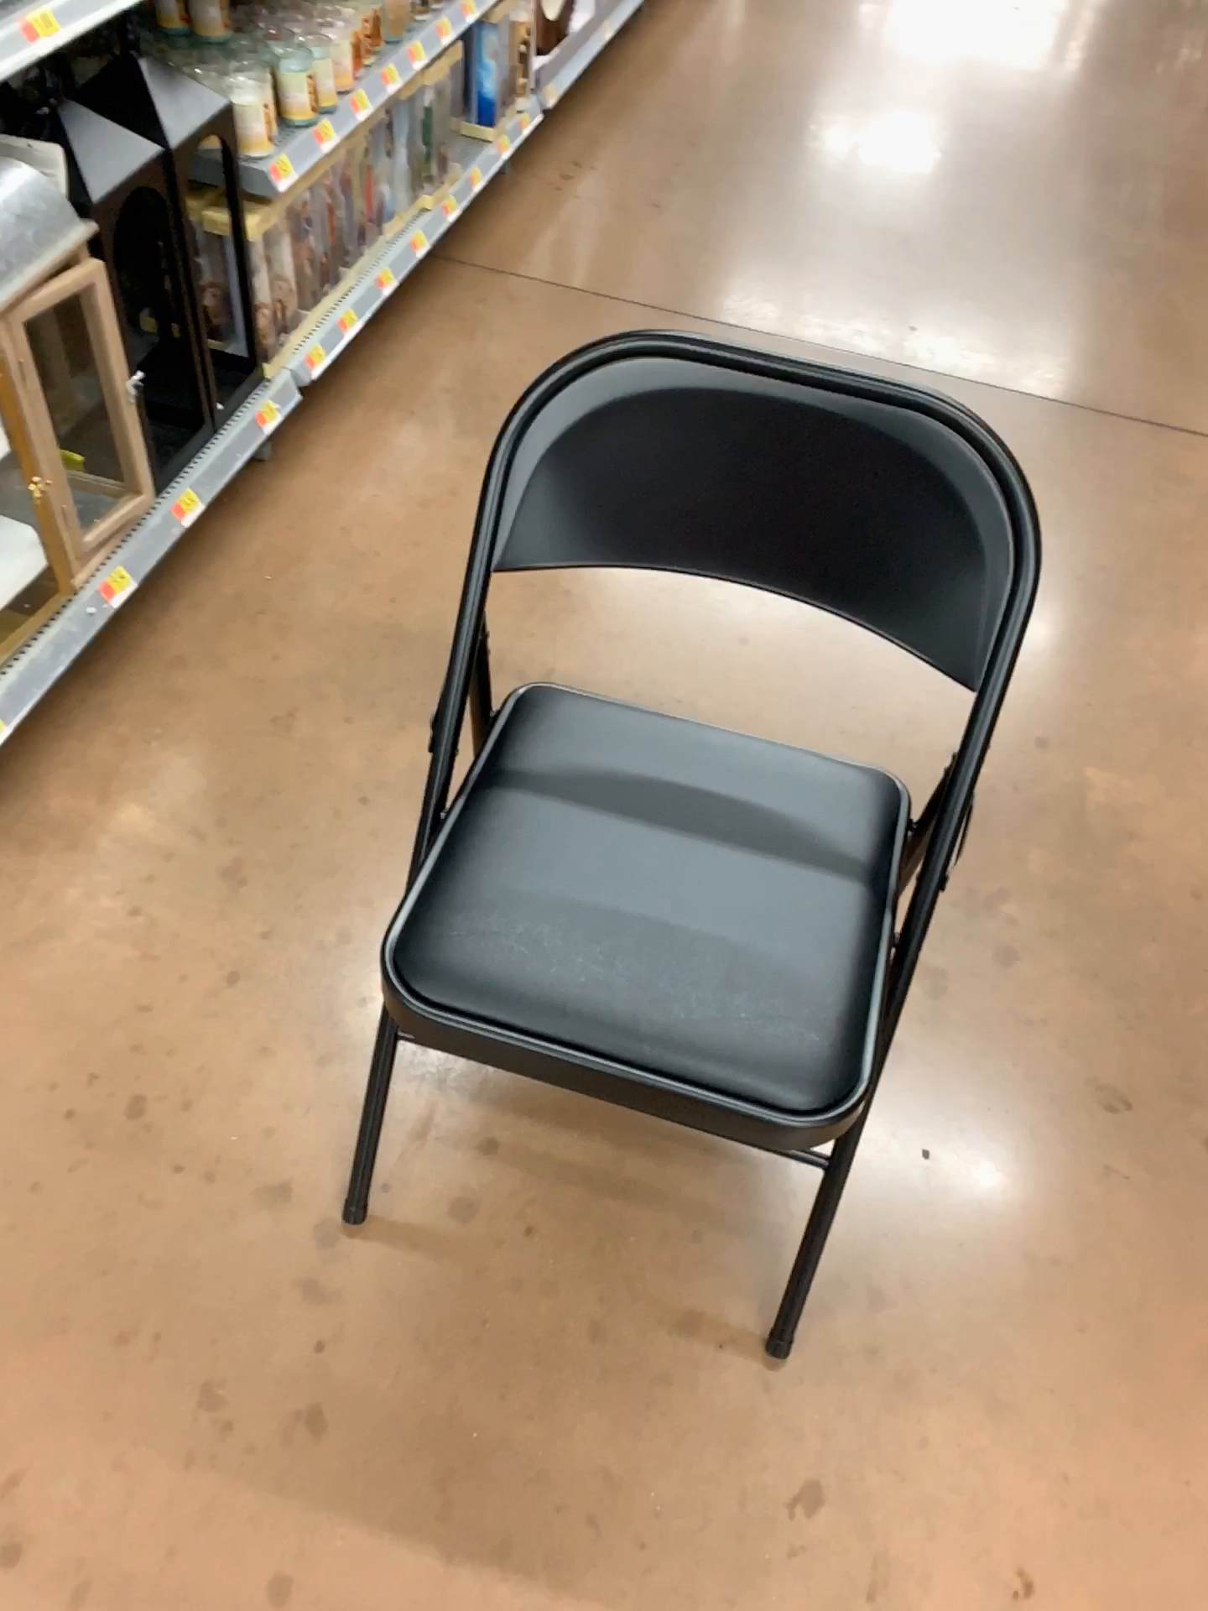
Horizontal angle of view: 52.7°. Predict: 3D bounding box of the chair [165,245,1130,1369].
[{"bbox_3d":[0.042,0.041,0.989,0.470,0.697,0.472,15,50,6],"label":"chair"}]
